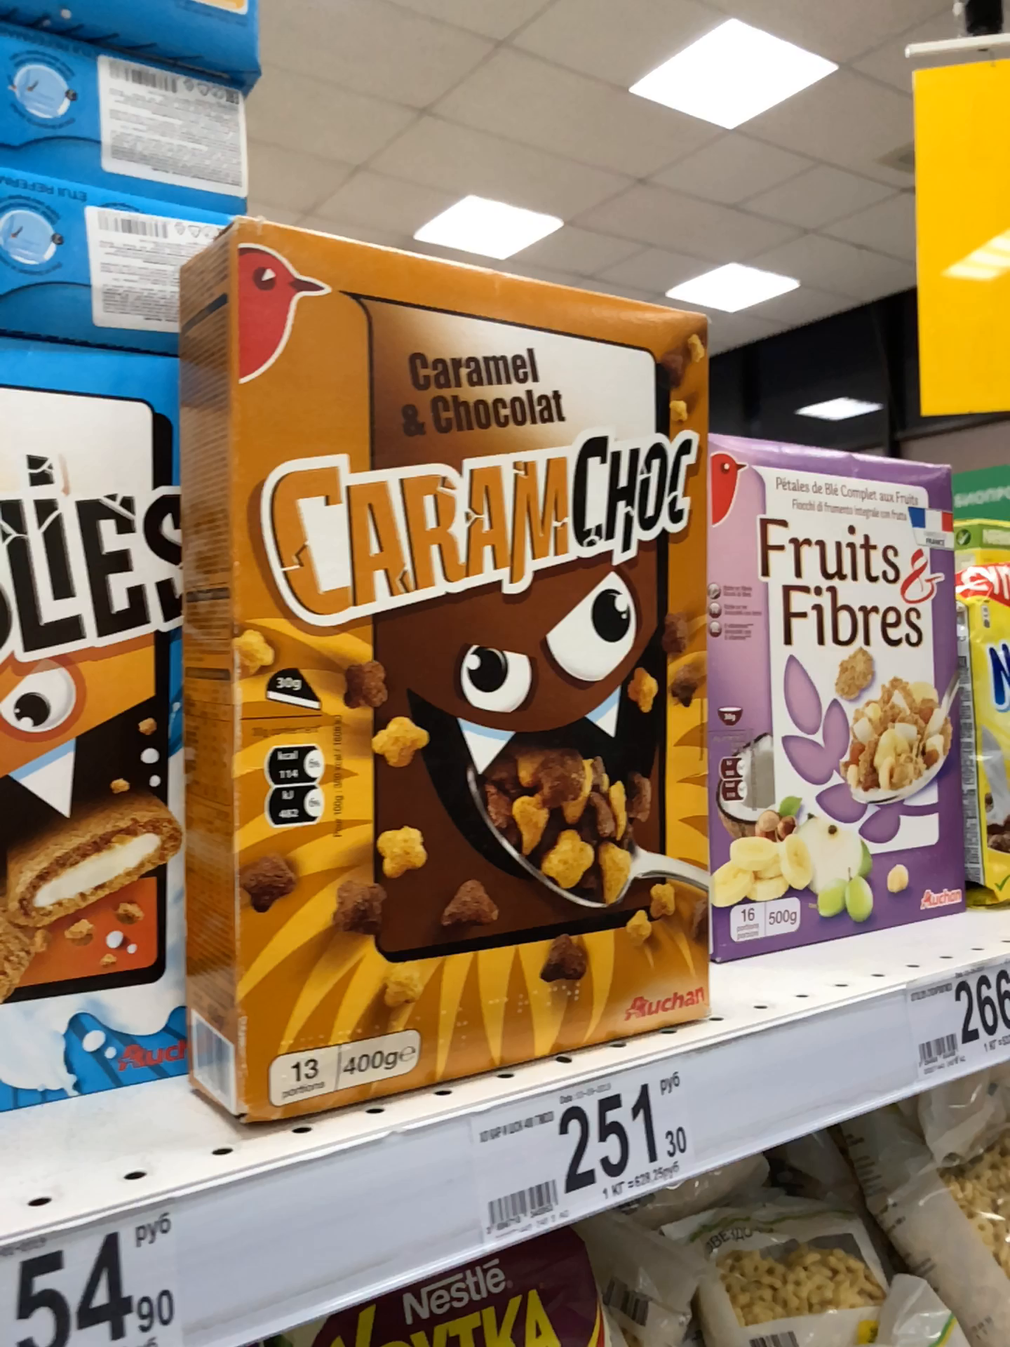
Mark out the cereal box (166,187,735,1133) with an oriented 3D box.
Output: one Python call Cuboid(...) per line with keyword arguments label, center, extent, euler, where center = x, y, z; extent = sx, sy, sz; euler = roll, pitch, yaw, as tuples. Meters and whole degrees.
Cuboid(label="cereal box", center=(-0.012, -0.005, 0.399), extent=(0.200, 0.270, 0.060), euler=(-1, 1, -34))
